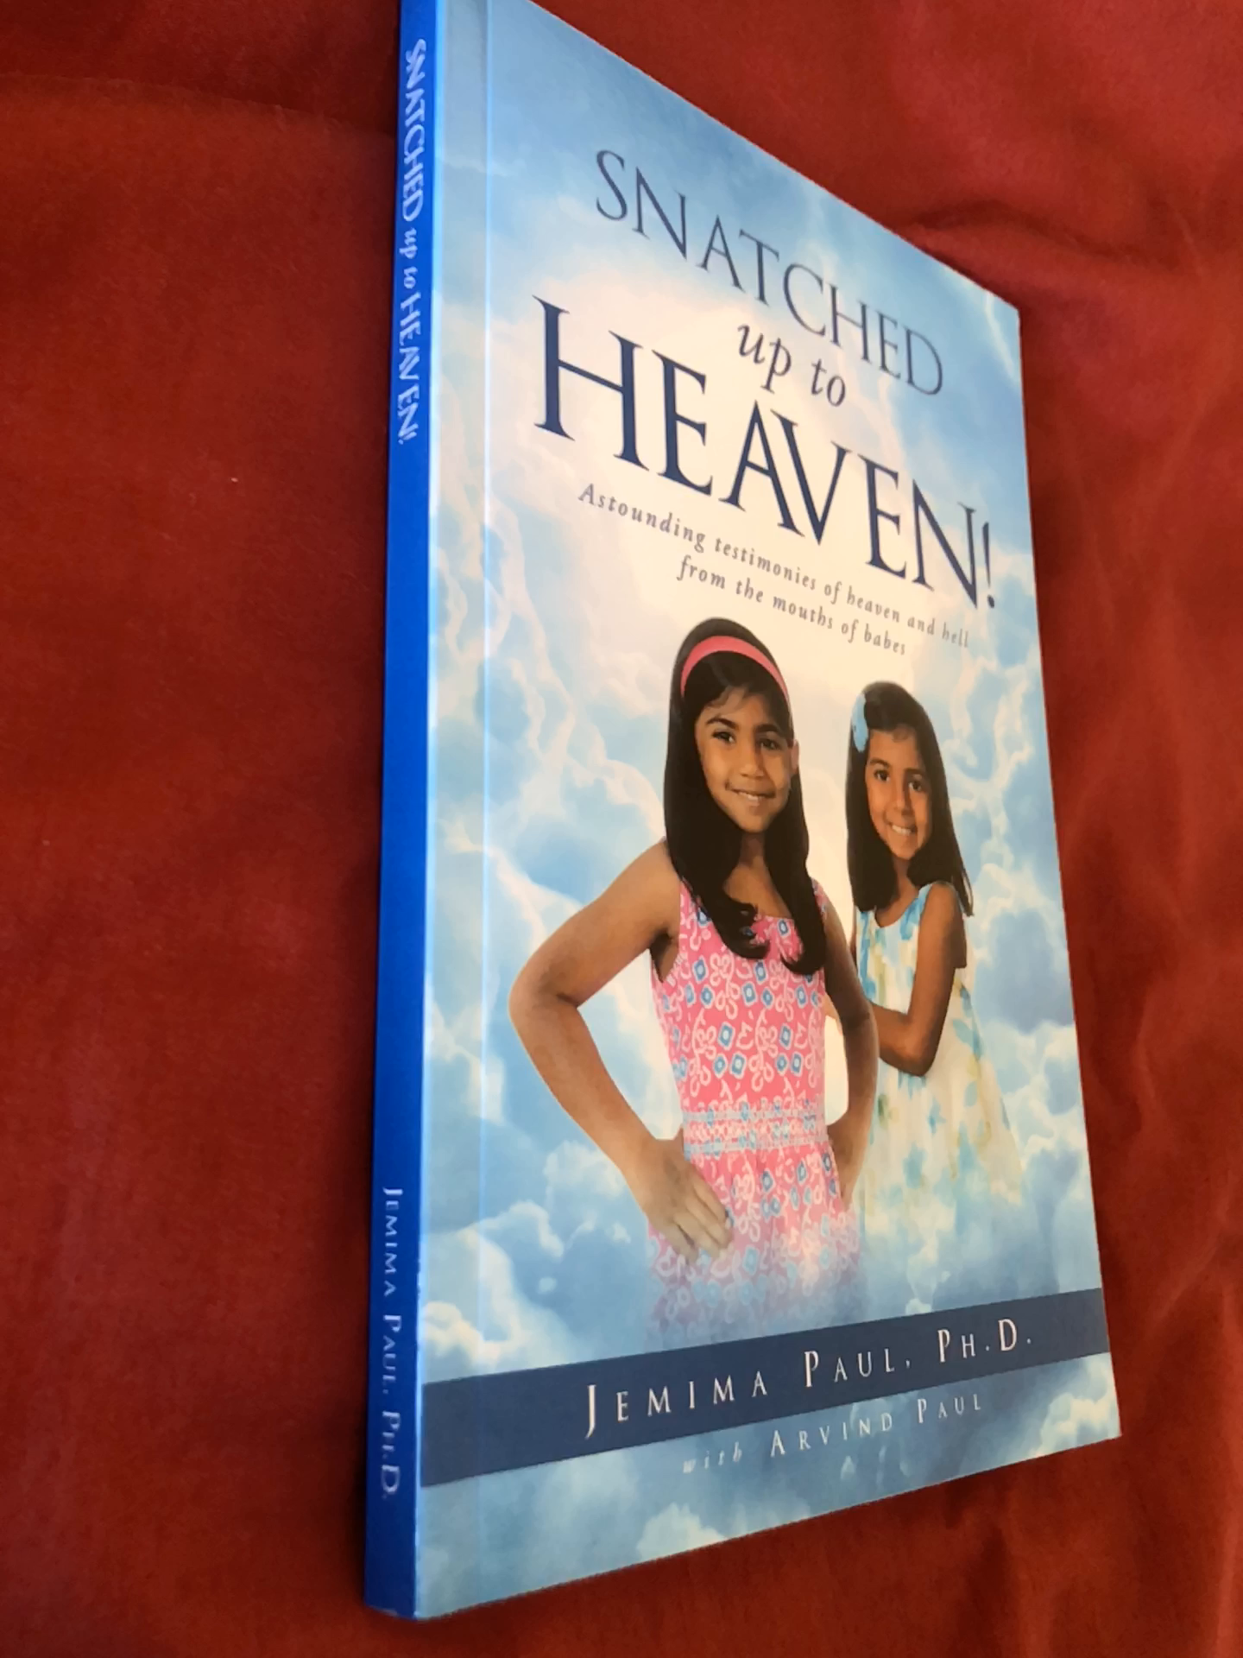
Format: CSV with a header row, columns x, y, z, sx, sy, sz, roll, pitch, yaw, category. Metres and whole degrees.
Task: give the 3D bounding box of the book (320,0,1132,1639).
x,y,z,sx,sy,sz,roll,pitch,yaw,category
0.025,-0.008,0.219,0.141,0.020,0.212,11,73,-39,book
